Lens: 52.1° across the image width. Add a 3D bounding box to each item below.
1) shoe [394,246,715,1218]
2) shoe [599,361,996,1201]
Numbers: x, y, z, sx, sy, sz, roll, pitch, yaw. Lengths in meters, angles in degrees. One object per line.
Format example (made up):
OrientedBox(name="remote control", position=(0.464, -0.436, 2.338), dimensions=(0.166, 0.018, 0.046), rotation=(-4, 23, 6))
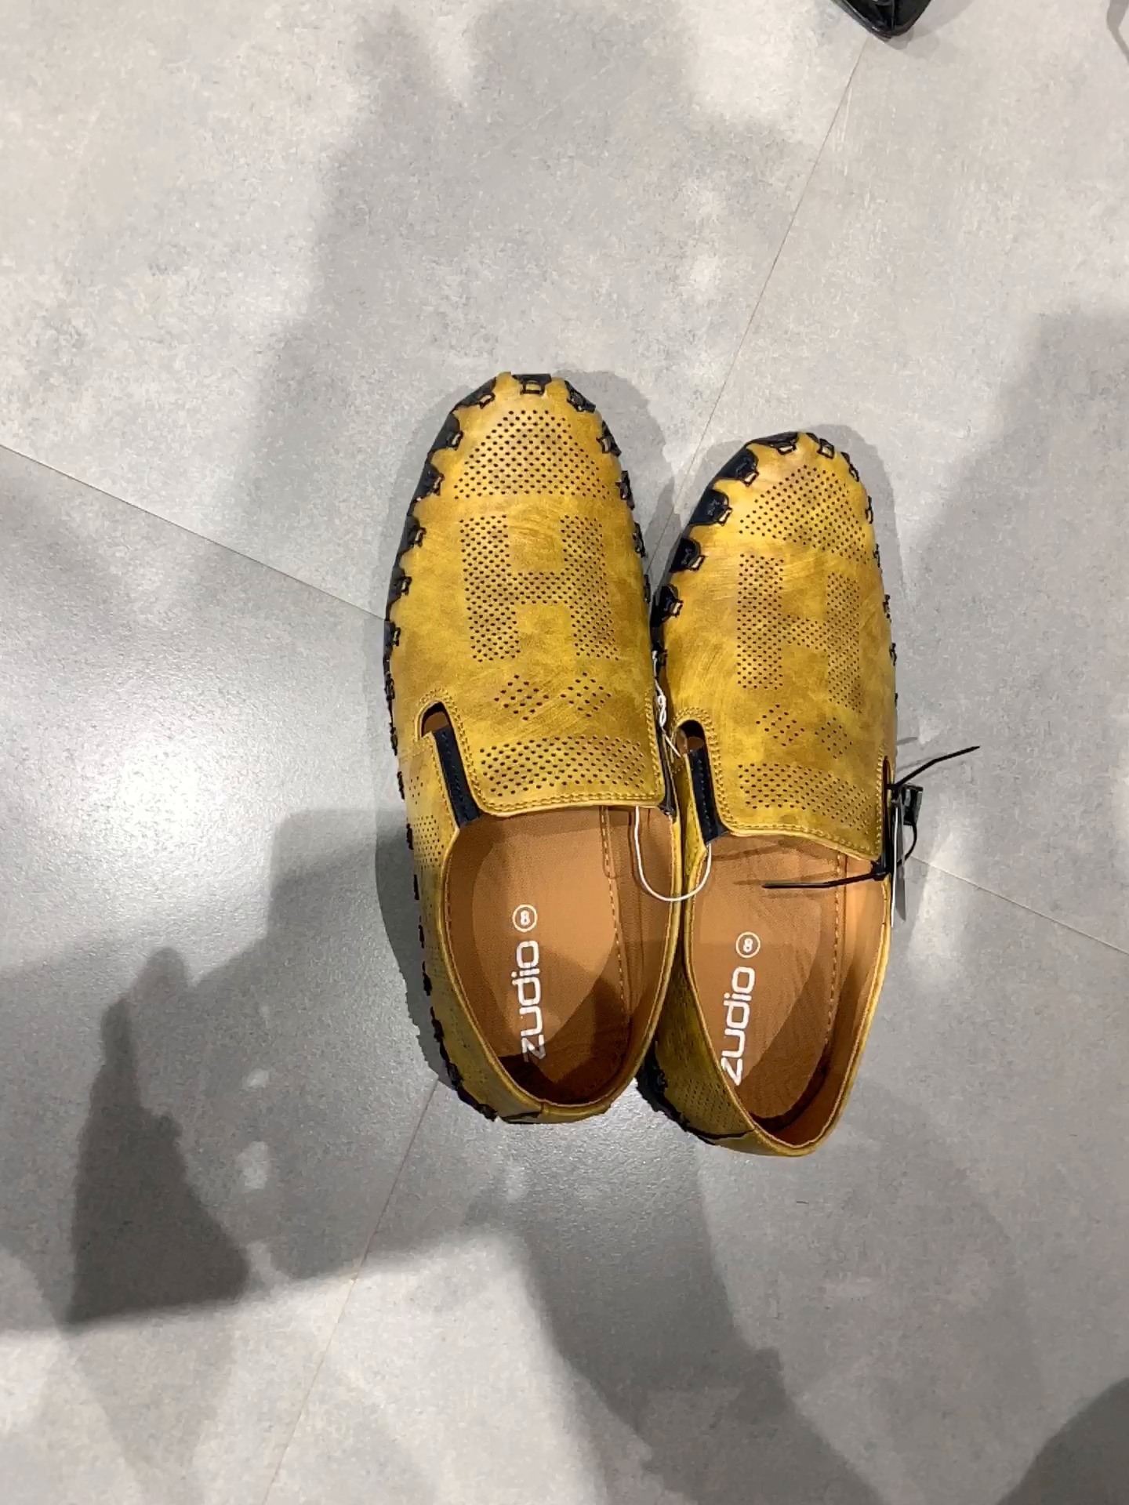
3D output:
OrientedBox(name="shoe", position=(-0.011, -0.007, 0.448), dimensions=(0.100, 0.120, 0.320), rotation=(0, 87, -12))
OrientedBox(name="shoe", position=(0.088, 0.013, 0.449), dimensions=(0.110, 0.080, 0.290), rotation=(6, 86, -12))
